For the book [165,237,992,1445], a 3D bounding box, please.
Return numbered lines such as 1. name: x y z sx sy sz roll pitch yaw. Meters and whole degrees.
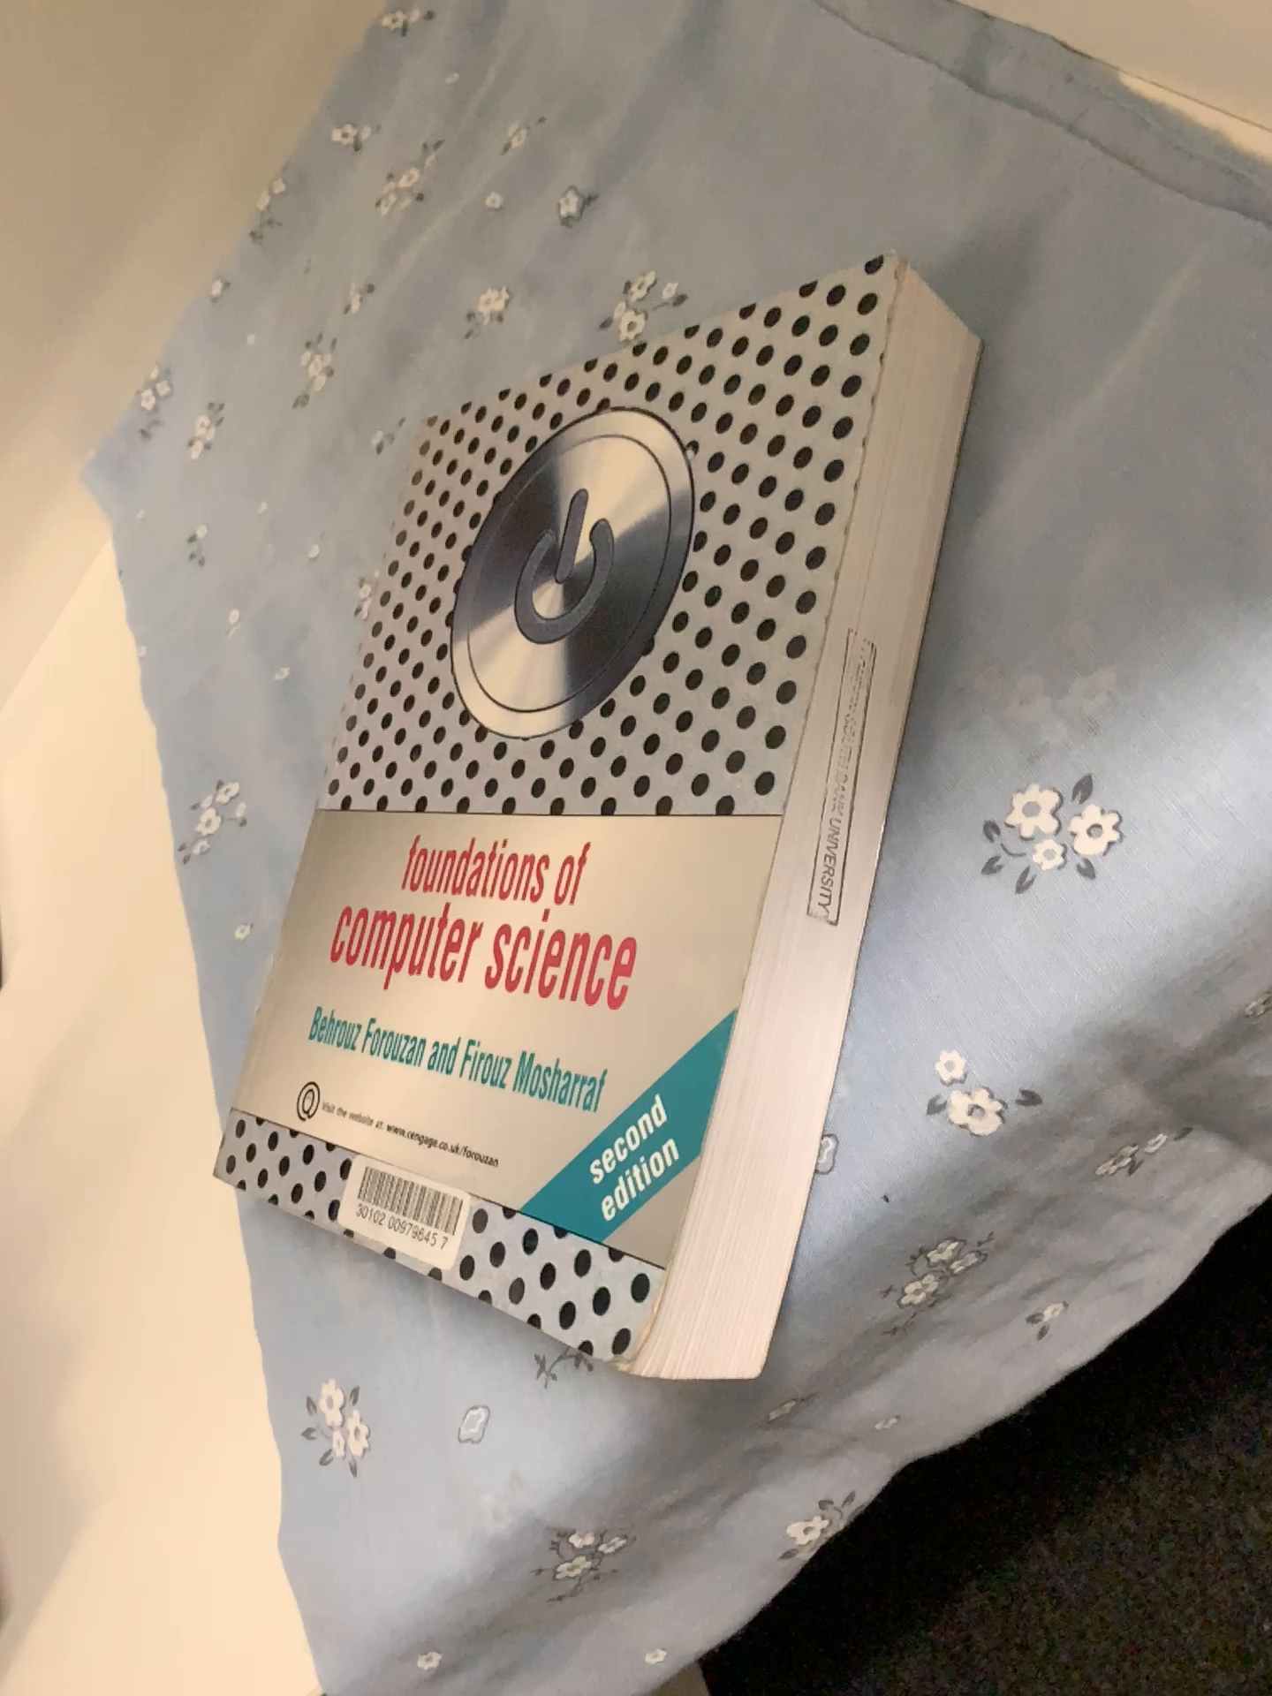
1. book: -0.025 -0.009 0.337 0.192 0.040 0.246 1 73 46
